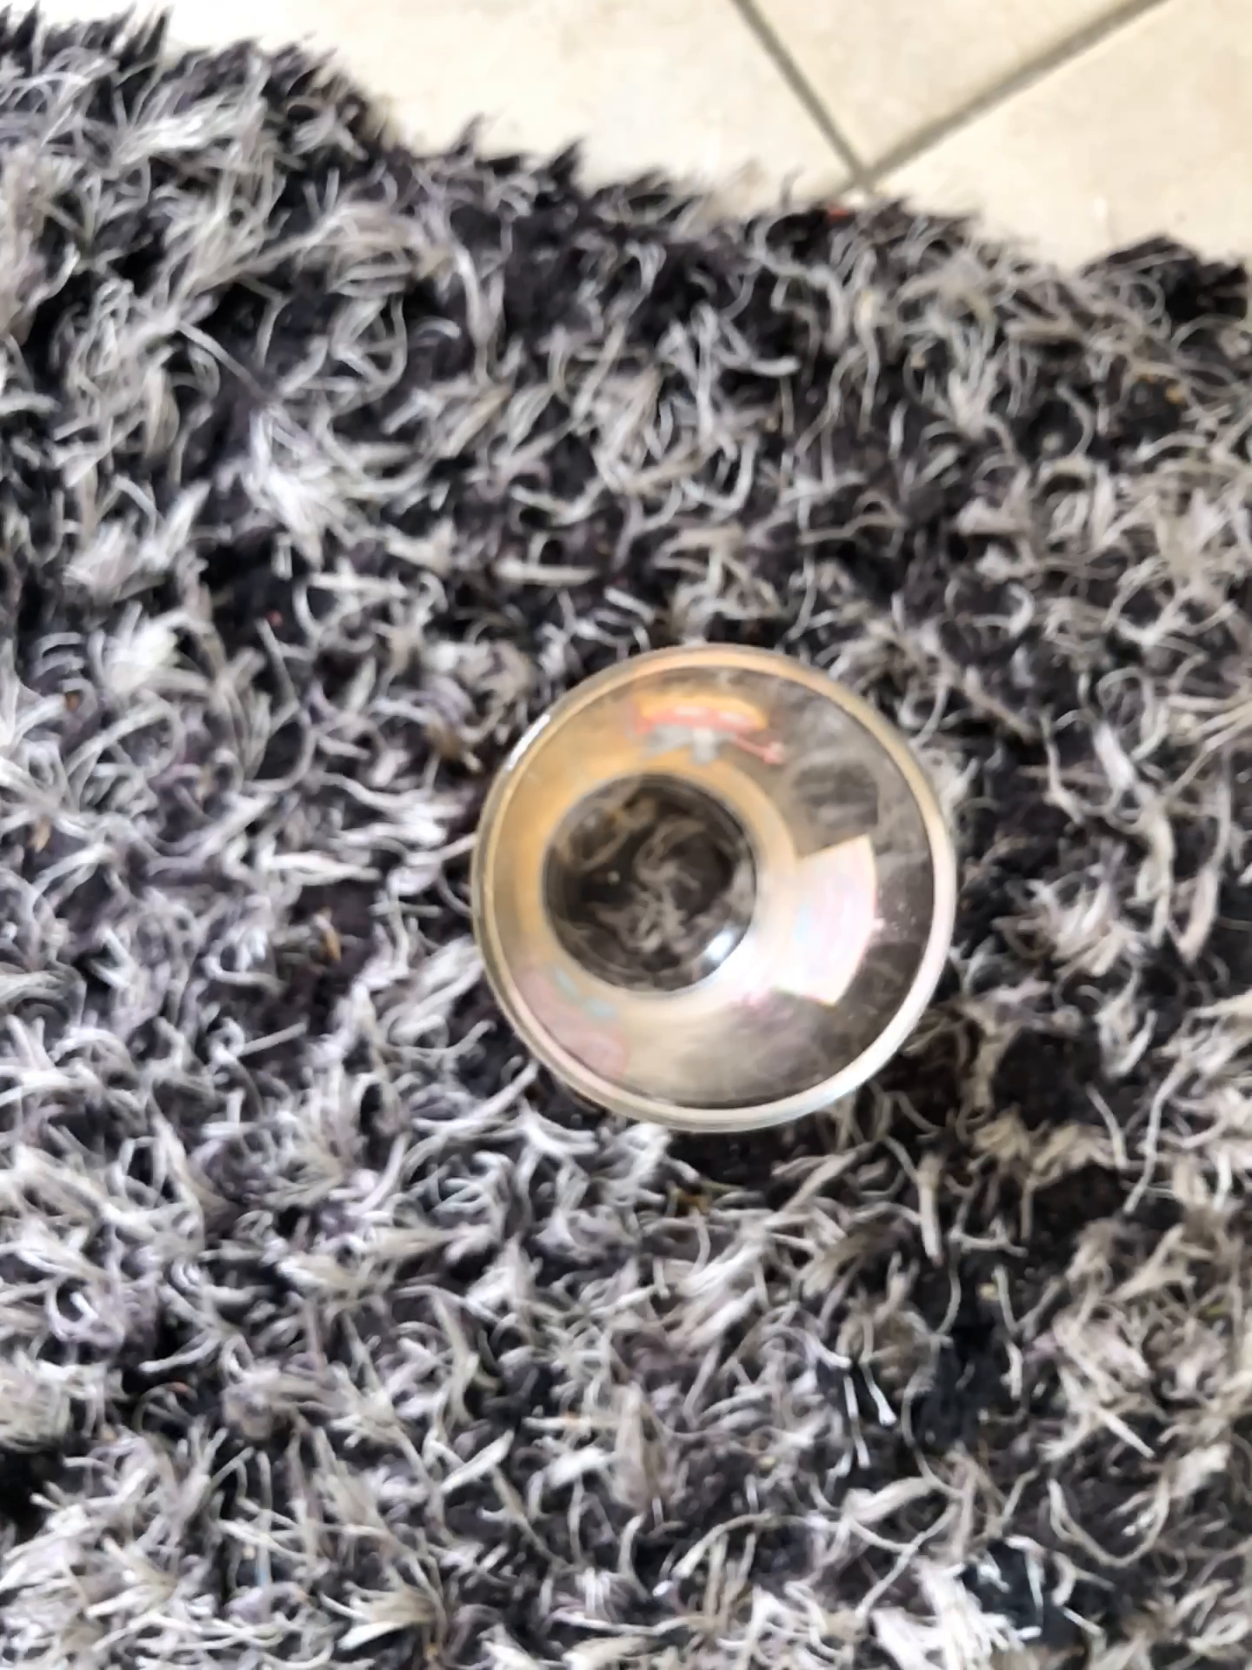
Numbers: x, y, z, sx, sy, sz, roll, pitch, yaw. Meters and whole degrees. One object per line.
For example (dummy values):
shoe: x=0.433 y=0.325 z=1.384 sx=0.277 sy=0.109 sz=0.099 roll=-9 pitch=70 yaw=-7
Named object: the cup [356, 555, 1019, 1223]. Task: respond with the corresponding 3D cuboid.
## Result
cup: x=0.006 y=0.010 z=0.237 sx=0.070 sy=0.100 sz=0.070 roll=0 pitch=87 yaw=-4
